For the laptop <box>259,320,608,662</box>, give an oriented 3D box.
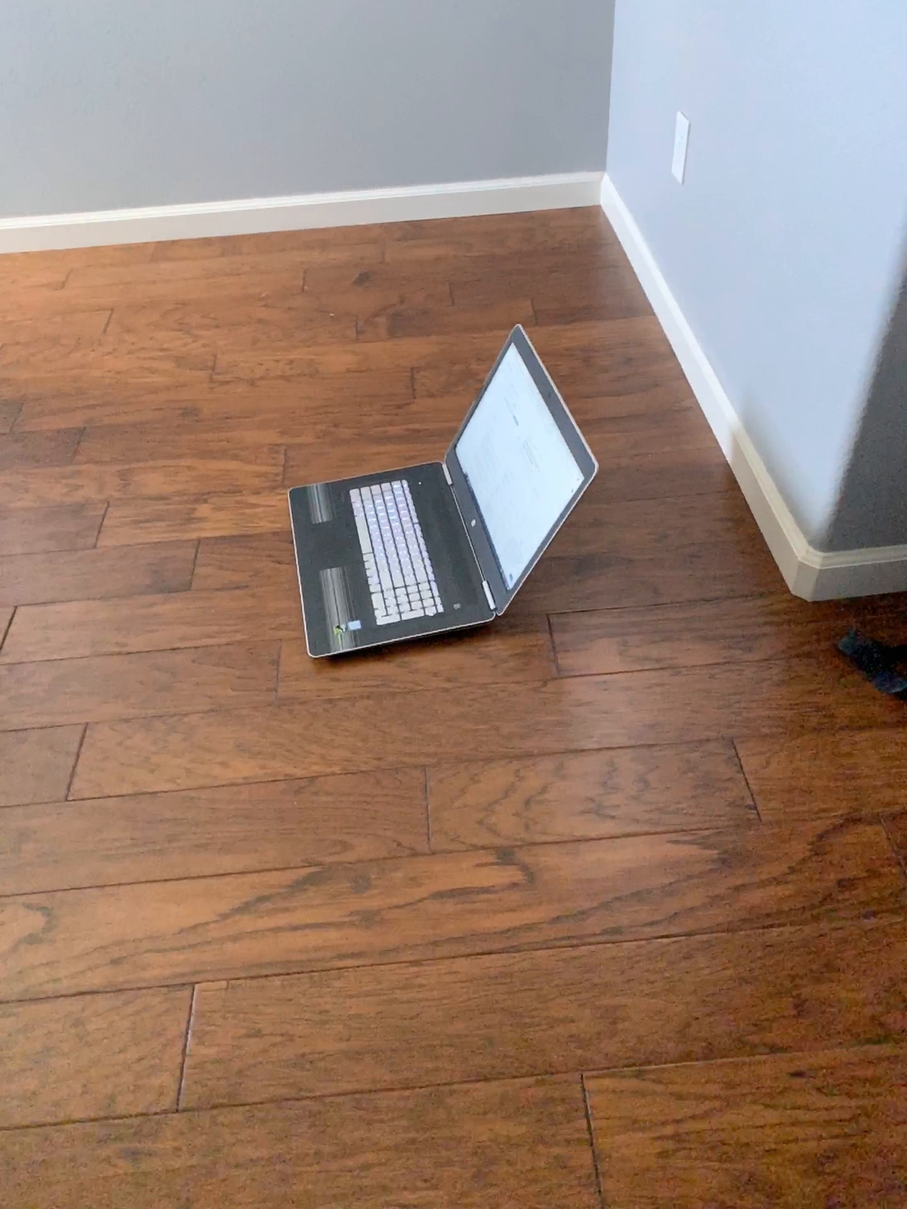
[{"bbox_3d":[-0.047,-0.185,1.377,0.421,0.233,0.413,-12,44,-6],"label":"laptop"}]
